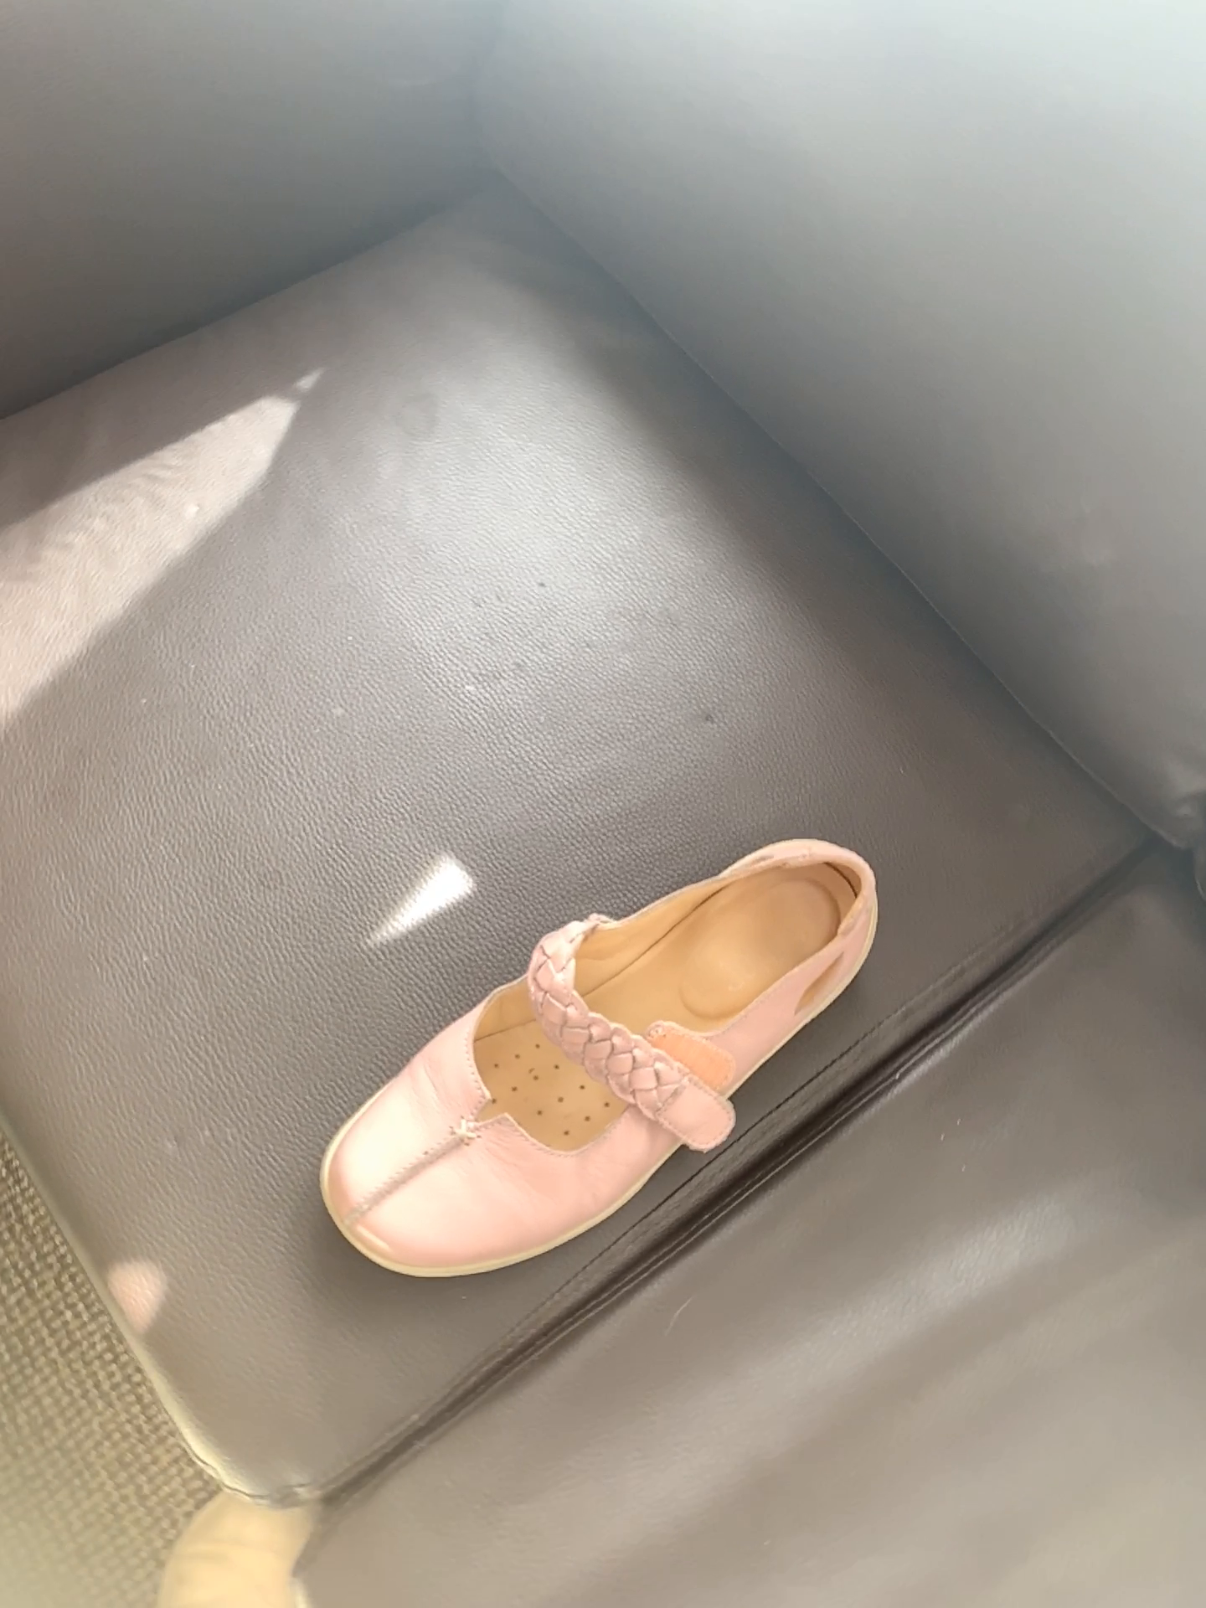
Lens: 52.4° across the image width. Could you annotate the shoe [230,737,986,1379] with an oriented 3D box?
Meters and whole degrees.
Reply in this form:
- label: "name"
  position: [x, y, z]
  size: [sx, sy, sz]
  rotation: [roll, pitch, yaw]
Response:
- label: "shoe"
  position: [0.004, 0.098, 0.493]
  size: [0.260, 0.100, 0.104]
  rotation: [-32, 74, -11]
